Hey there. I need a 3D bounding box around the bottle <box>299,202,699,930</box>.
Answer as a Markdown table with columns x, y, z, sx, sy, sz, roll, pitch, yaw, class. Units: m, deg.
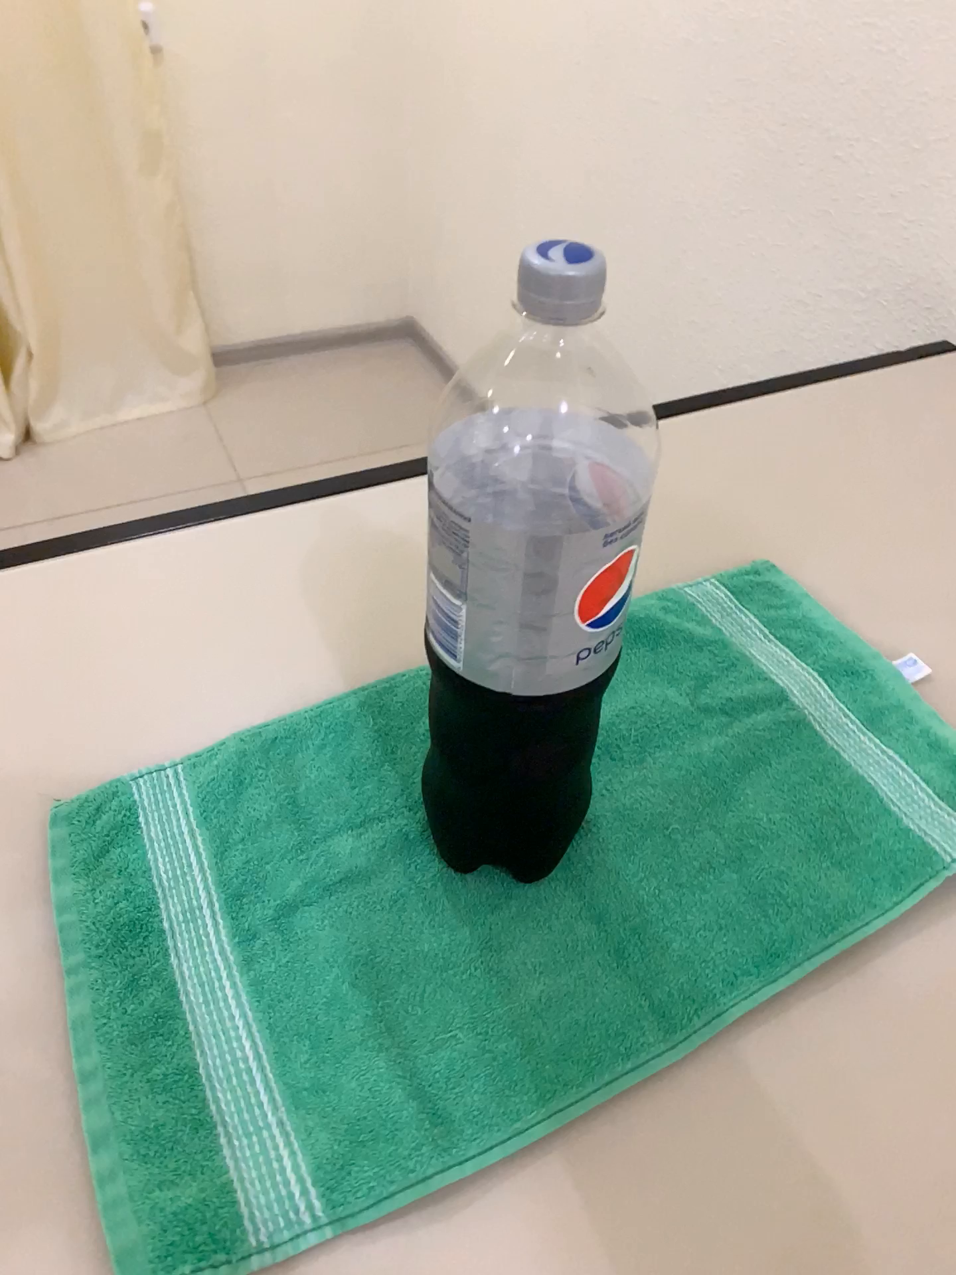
| x | y | z | sx | sy | sz | roll | pitch | yaw | class |
| --- | --- | --- | --- | --- | --- | --- | --- | --- | --- |
| 0.006 | -0.012 | 0.431 | 0.100 | 0.298 | 0.100 | 1 | 43 | -1 | bottle |
